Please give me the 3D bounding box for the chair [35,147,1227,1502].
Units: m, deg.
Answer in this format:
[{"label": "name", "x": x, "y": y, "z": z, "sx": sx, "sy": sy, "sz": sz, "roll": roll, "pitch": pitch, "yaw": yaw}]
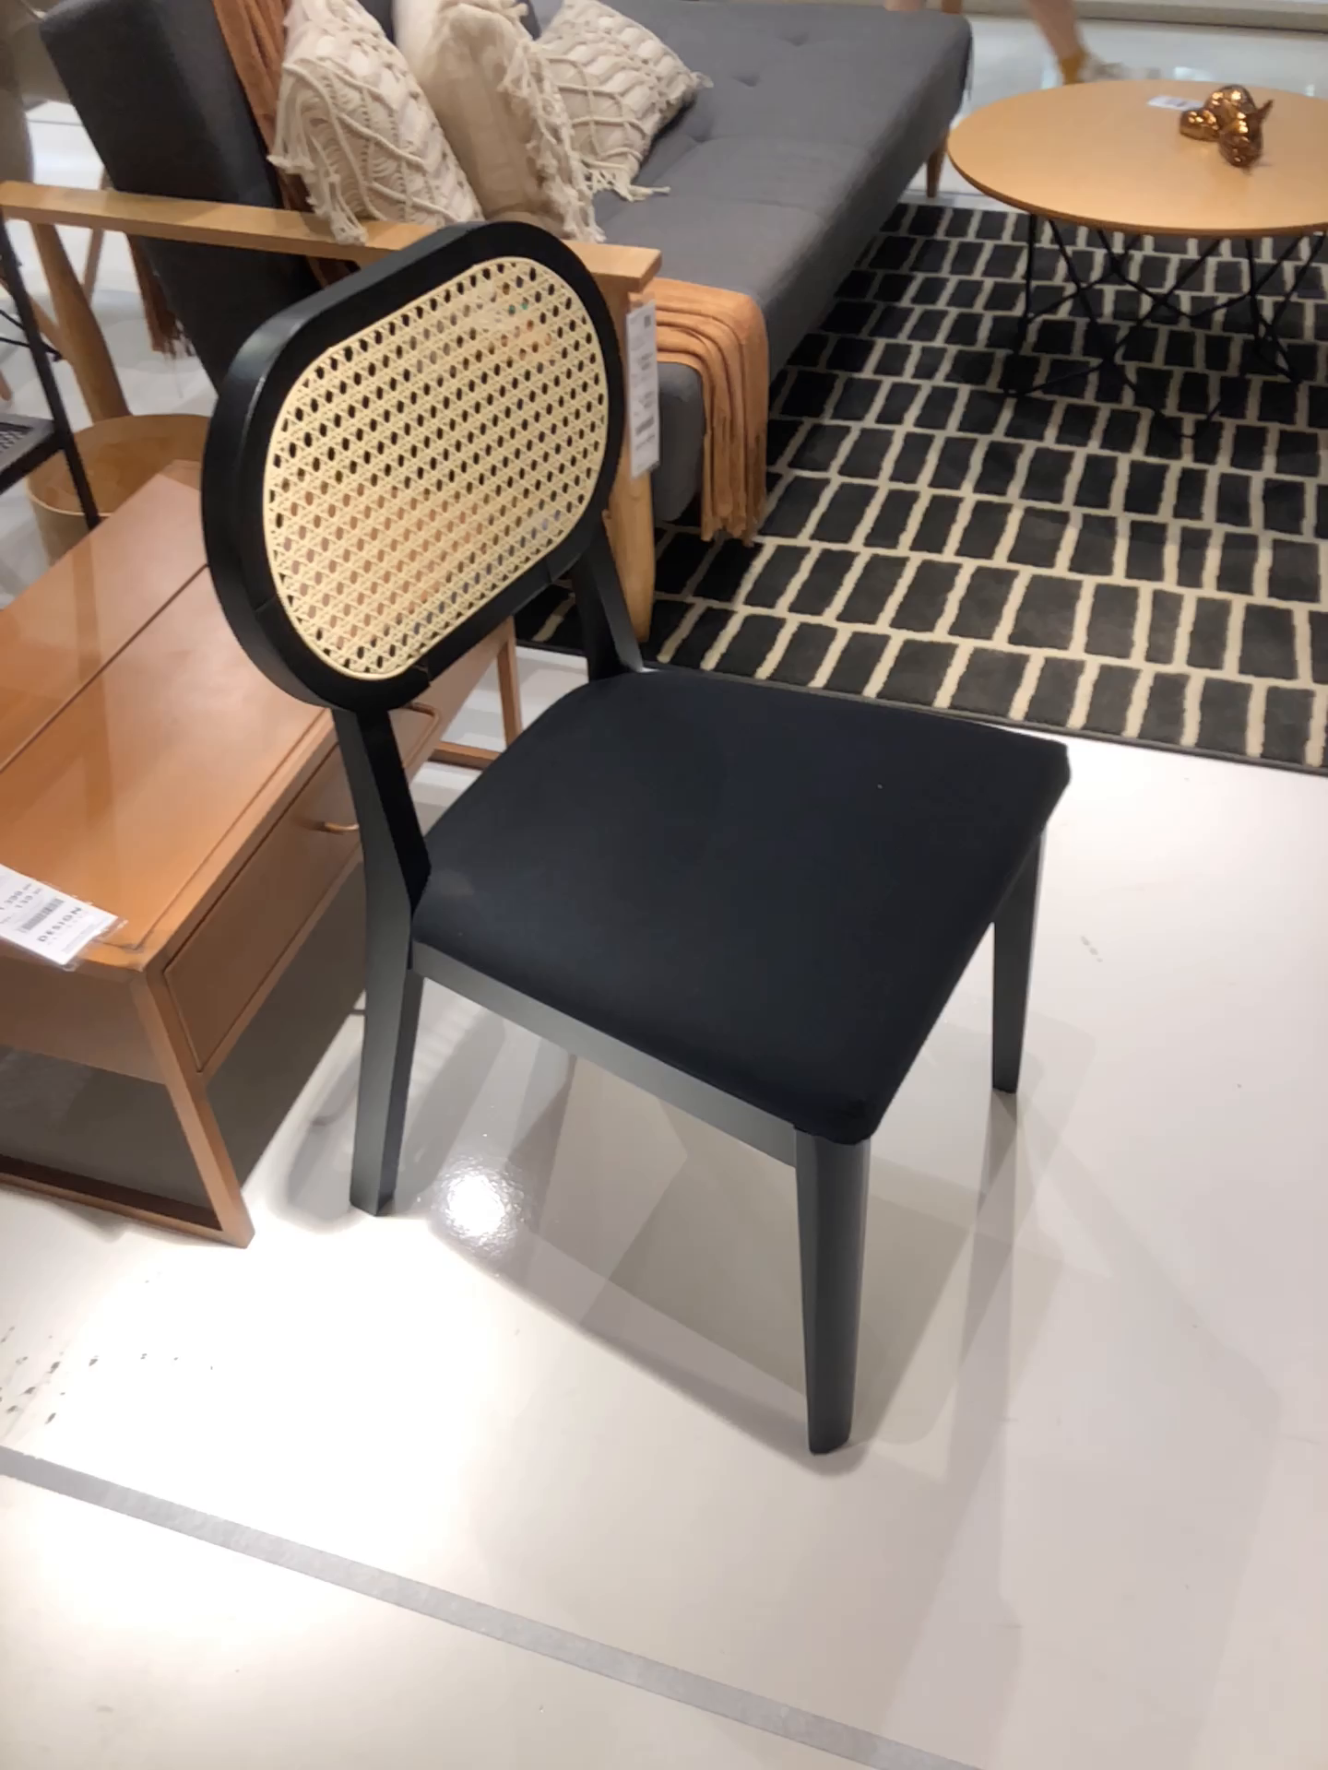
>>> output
[{"label": "chair", "x": 0.019, "y": -0.041, "z": 1.140, "sx": 0.541, "sy": 0.804, "sz": 0.503, "roll": 18, "pitch": 46, "yaw": 20}]
